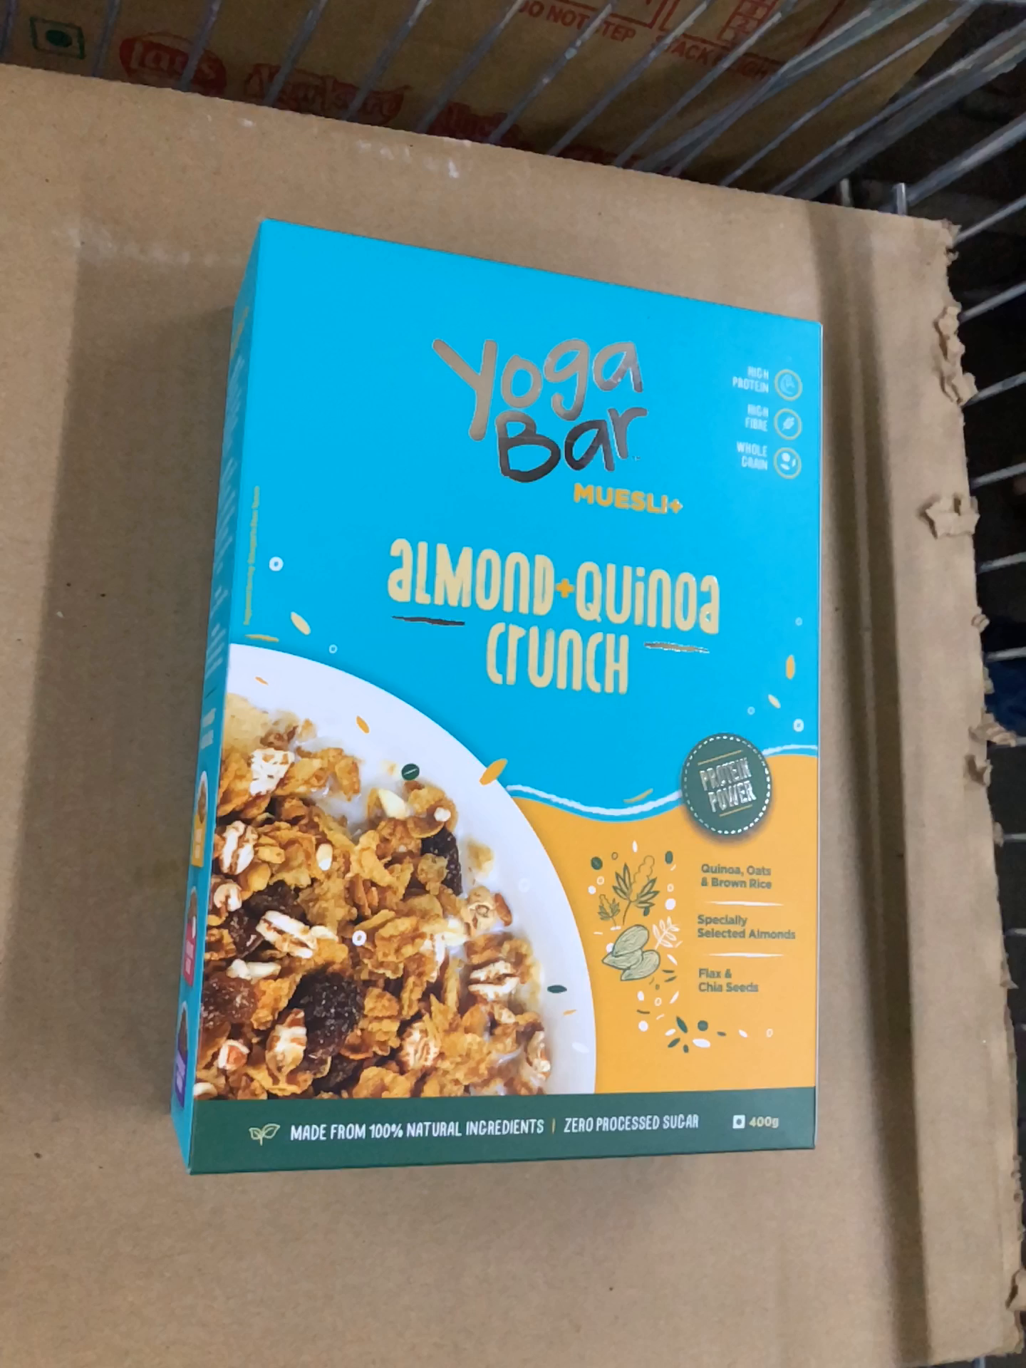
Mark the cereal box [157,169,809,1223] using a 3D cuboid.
[{"bbox_3d":[-0.006,0.005,0.317,0.160,0.070,0.240,4,83,-19],"label":"cereal box"}]
